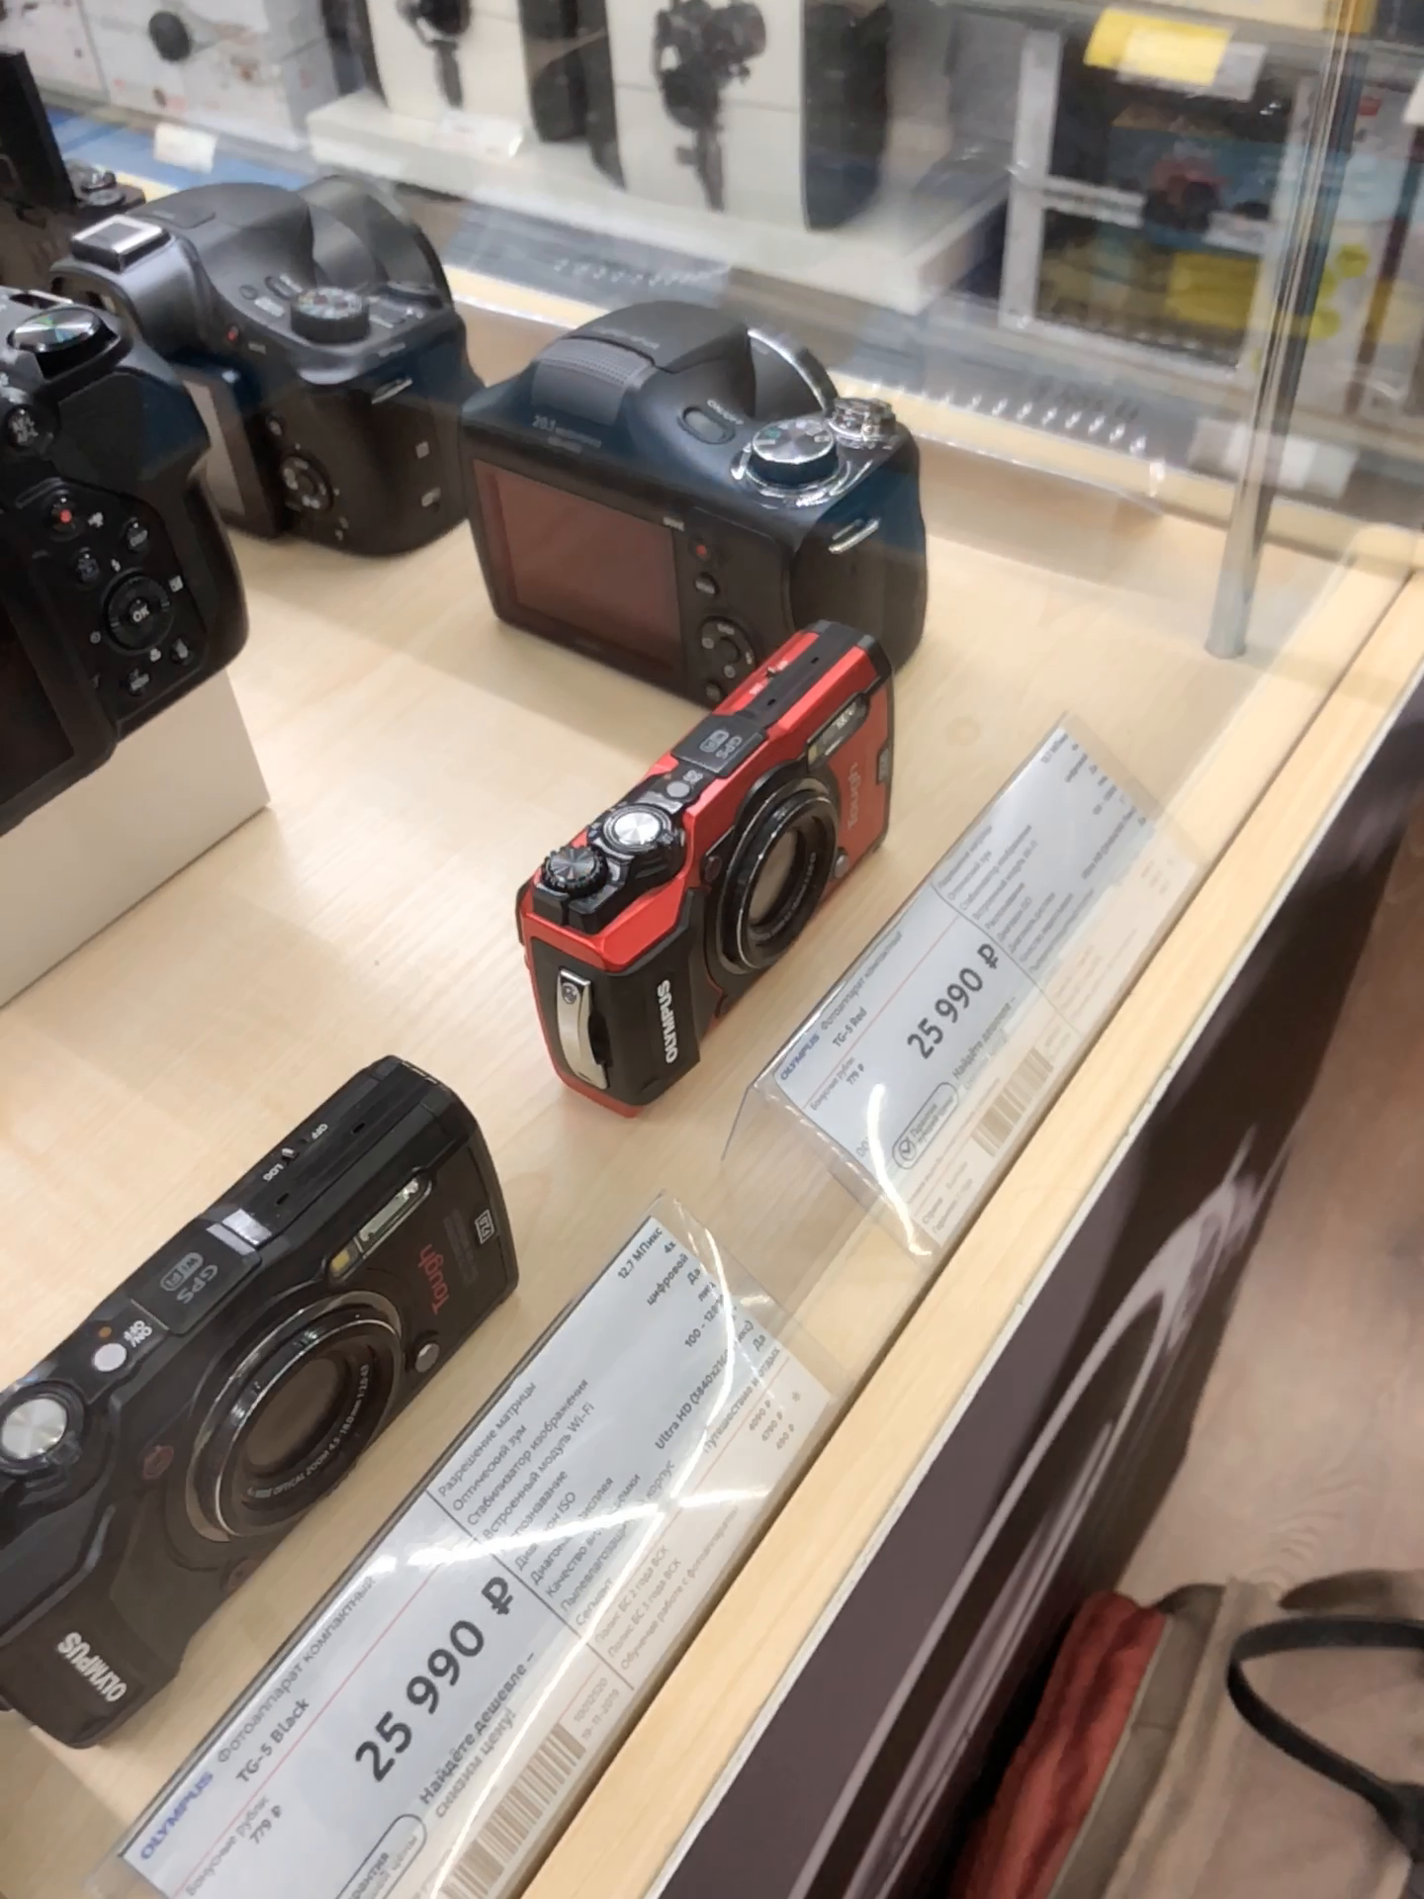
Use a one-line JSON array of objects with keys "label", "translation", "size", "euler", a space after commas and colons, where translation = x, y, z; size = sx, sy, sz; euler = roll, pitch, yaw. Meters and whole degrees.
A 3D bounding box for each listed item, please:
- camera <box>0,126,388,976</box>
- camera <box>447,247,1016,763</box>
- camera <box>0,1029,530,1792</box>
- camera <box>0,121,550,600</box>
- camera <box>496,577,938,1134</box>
[{"label": "camera", "translation": [-0.174, -0.095, 0.337], "size": [0.127, 0.086, 0.147], "euler": [26, 54, 26]}, {"label": "camera", "translation": [0.007, -0.128, 0.443], "size": [0.117, 0.078, 0.094], "euler": [26, 54, 26]}, {"label": "camera", "translation": [-0.085, 0.078, 0.279], "size": [0.030, 0.061, 0.117], "euler": [26, 53, 25]}, {"label": "camera", "translation": [-0.153, -0.202, 0.531], "size": [0.158, 0.086, 0.103], "euler": [25, 53, 25]}, {"label": "camera", "translation": [0.006, -0.024, 0.354], "size": [0.030, 0.061, 0.119], "euler": [26, 53, 25]}]
